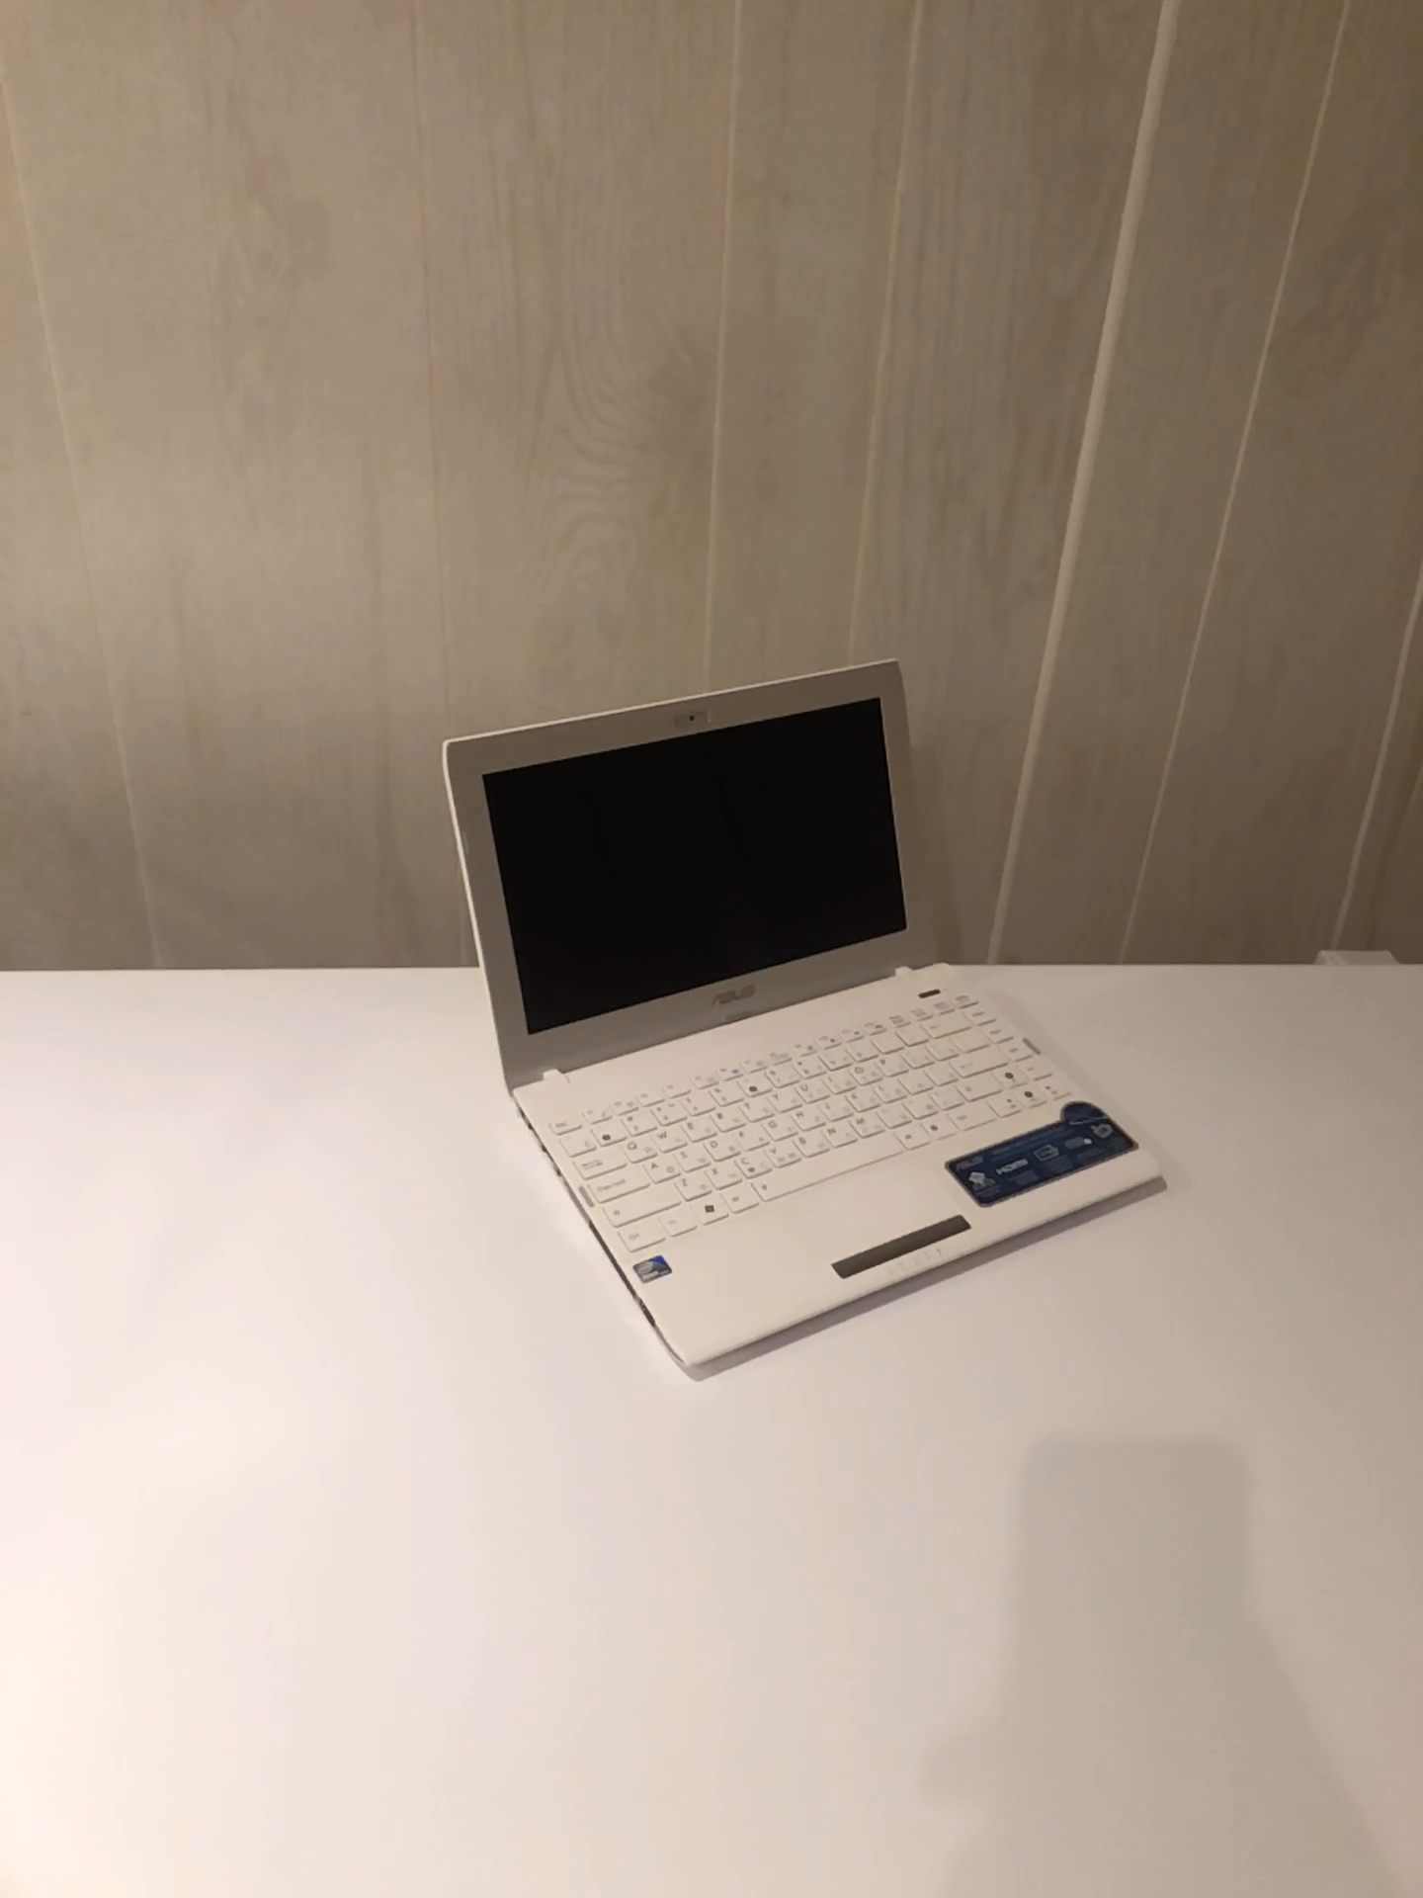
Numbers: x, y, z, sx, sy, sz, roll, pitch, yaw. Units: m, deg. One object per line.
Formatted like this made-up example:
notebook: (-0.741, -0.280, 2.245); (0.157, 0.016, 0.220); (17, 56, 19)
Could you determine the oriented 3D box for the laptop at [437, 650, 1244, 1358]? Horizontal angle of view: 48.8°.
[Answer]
laptop: (0.050, 0.003, 0.826); (0.288, 0.168, 0.293); (-15, 40, -26)
